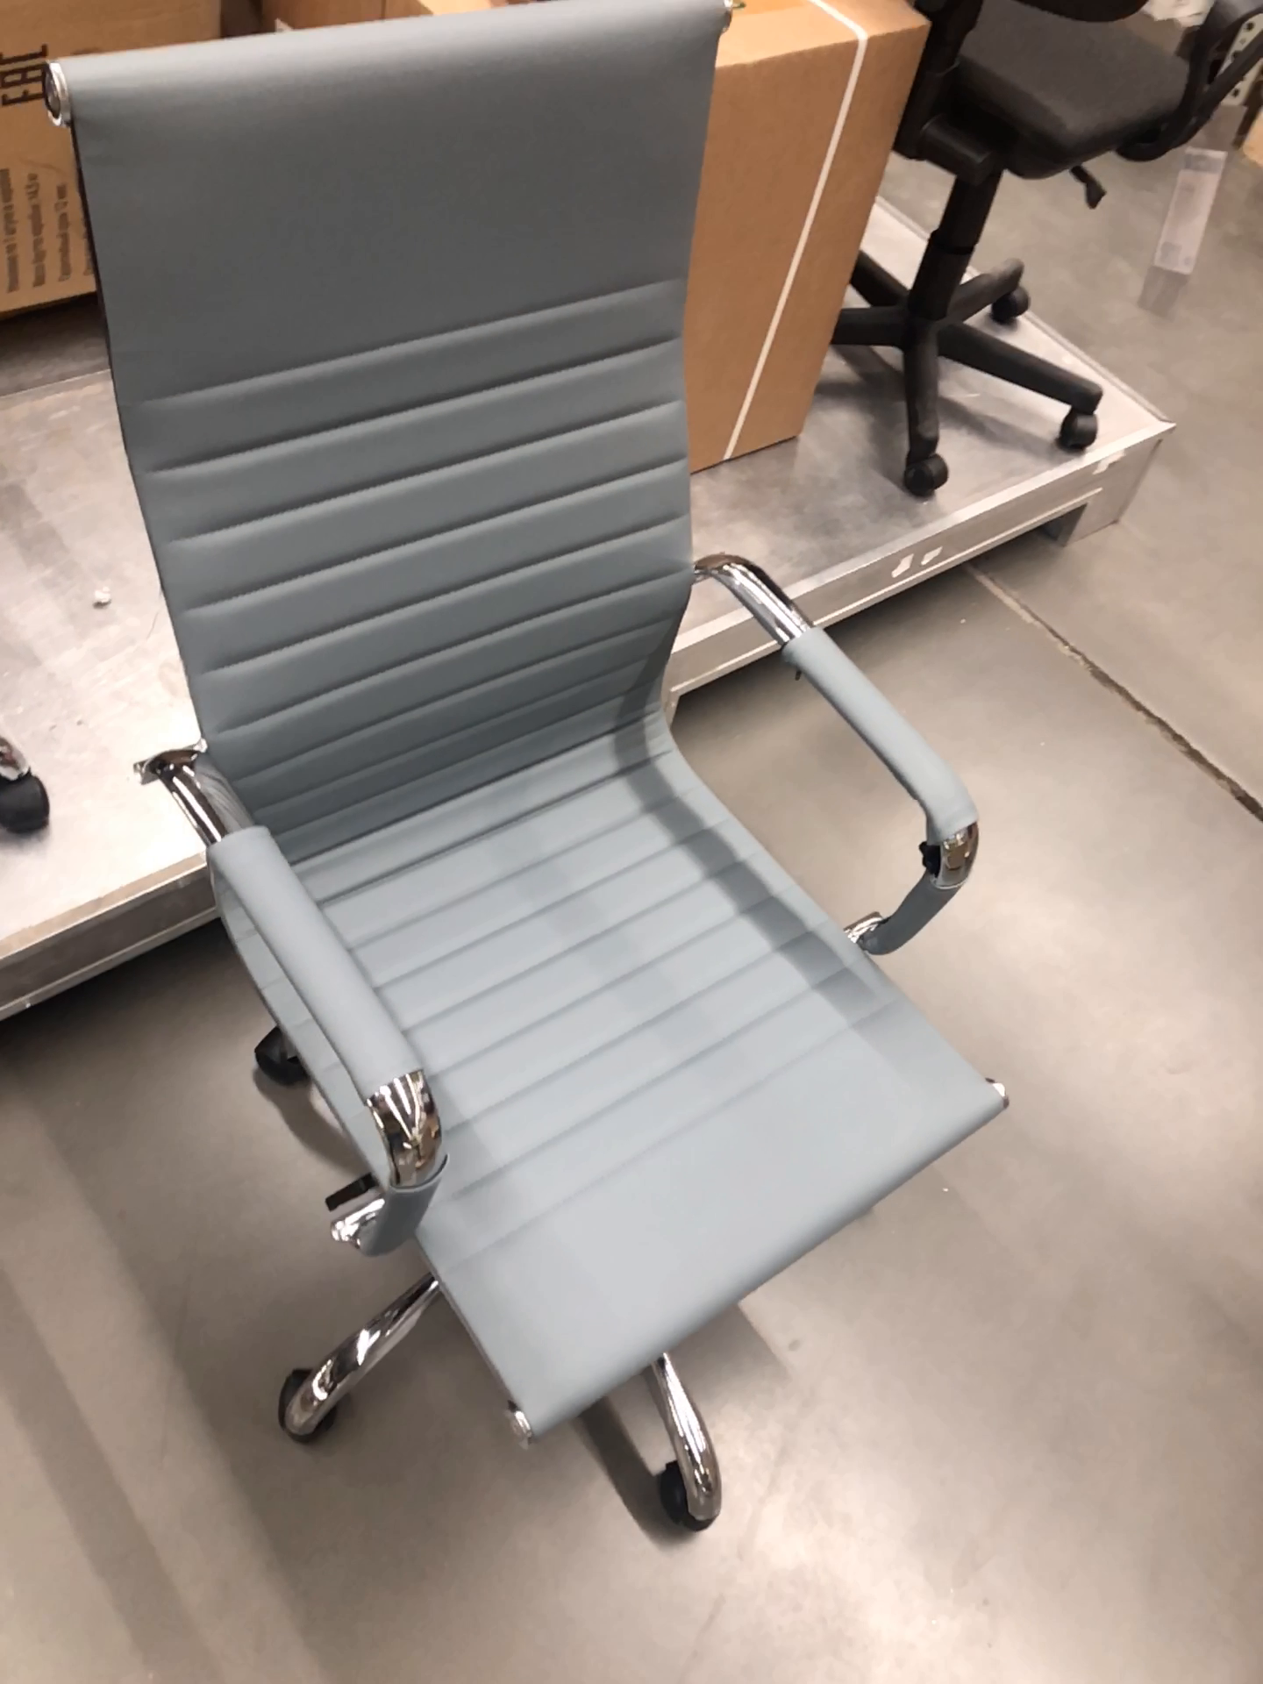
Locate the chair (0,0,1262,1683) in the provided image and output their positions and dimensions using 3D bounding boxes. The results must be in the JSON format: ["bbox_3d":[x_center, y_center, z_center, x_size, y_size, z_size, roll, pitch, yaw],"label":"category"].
[{"bbox_3d":[-0.011,0.096,1.125,0.712,1.213,0.752,-24,62,-27],"label":"chair"}]
